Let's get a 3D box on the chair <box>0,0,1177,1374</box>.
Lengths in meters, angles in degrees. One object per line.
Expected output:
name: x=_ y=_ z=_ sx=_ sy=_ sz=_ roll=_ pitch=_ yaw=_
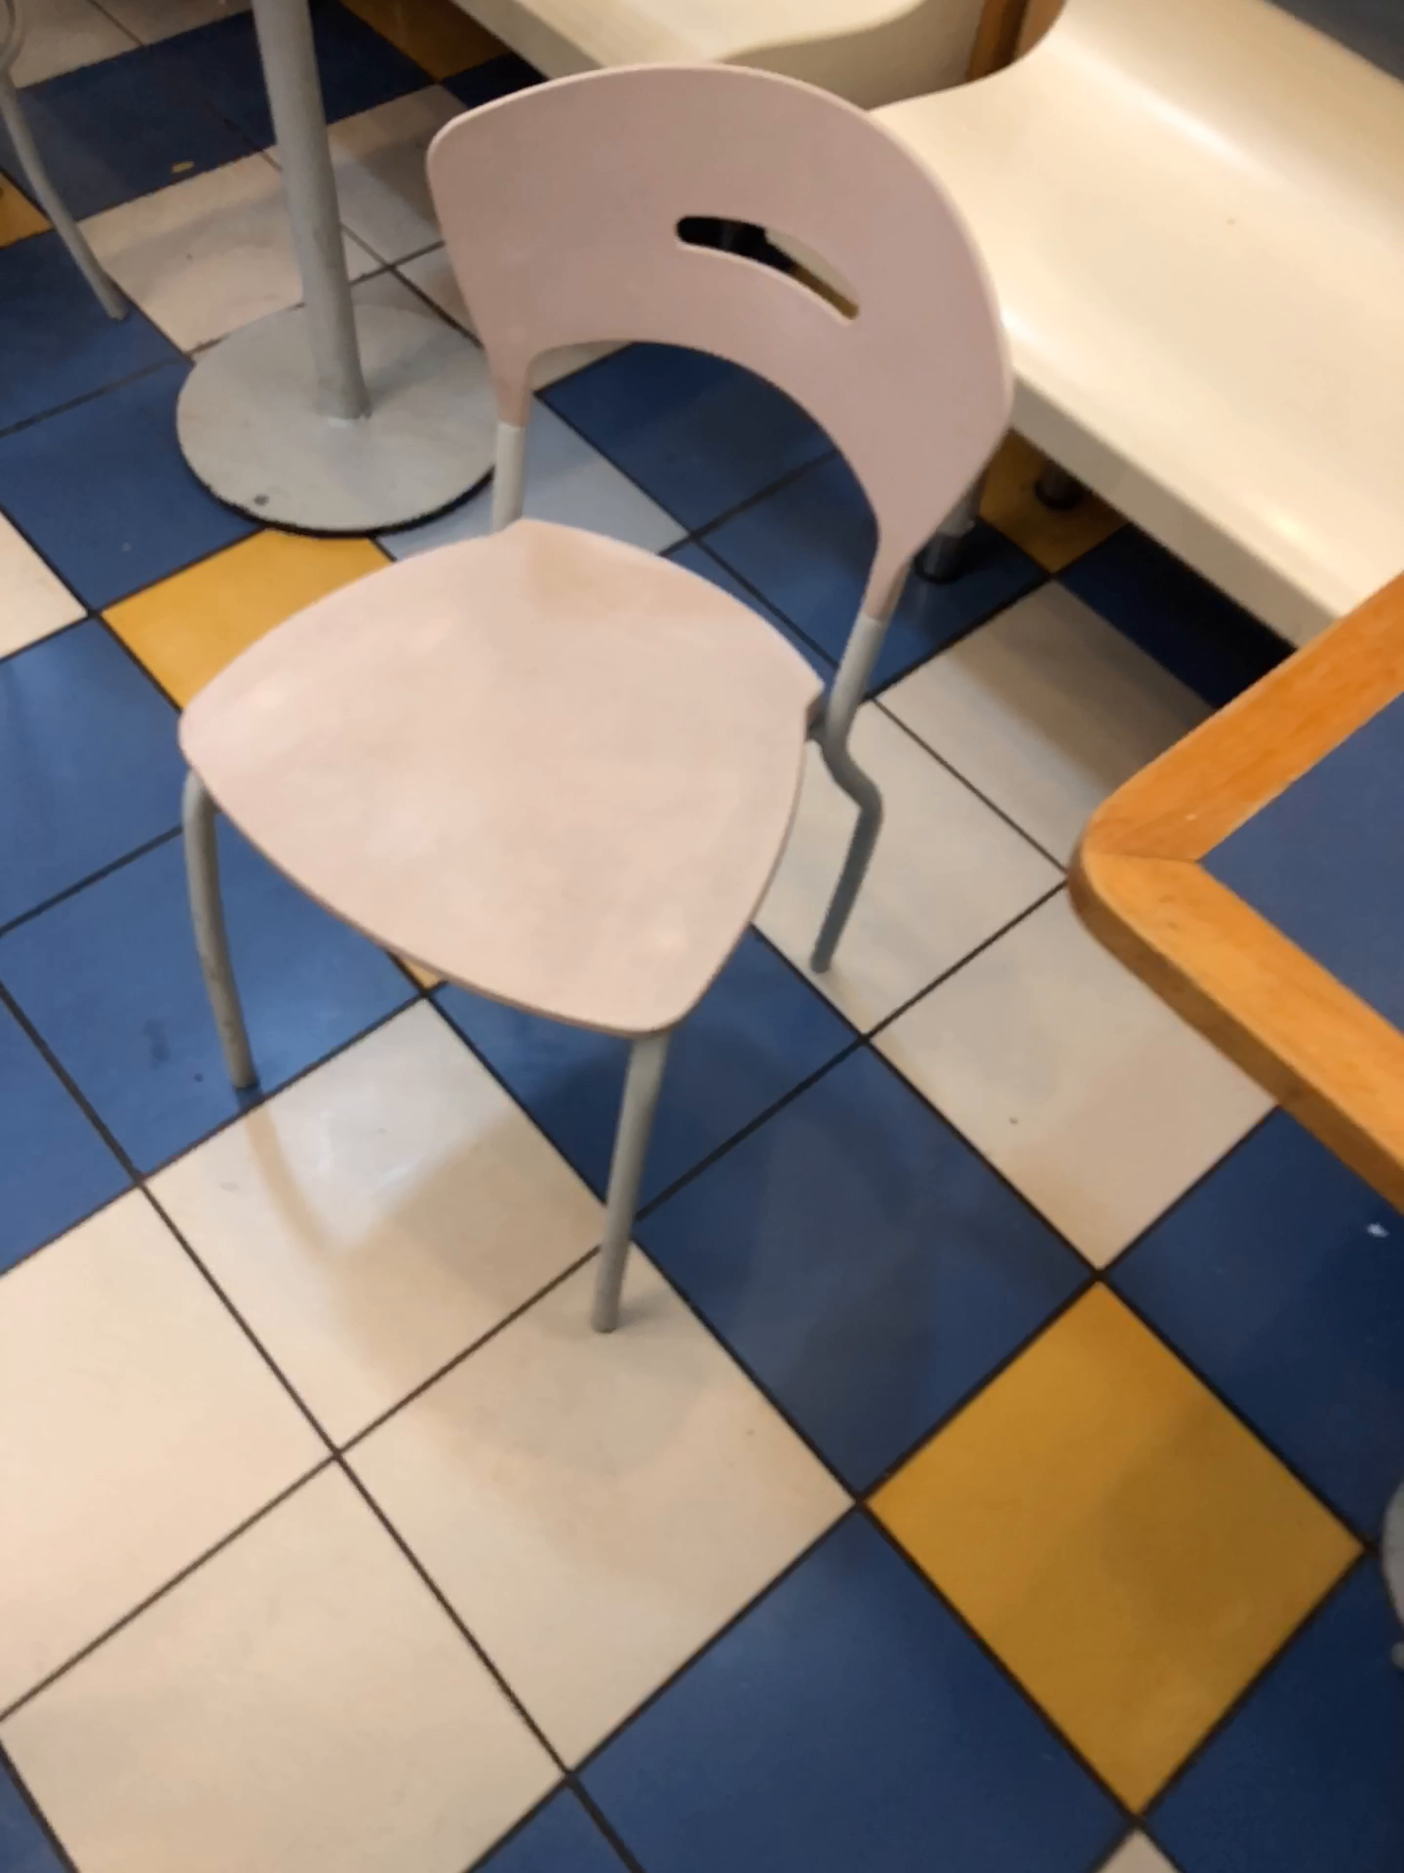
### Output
chair: x=-0.084 y=-0.126 z=1.135 sx=0.440 sy=0.776 sz=0.512 roll=31 pitch=61 yaw=13
